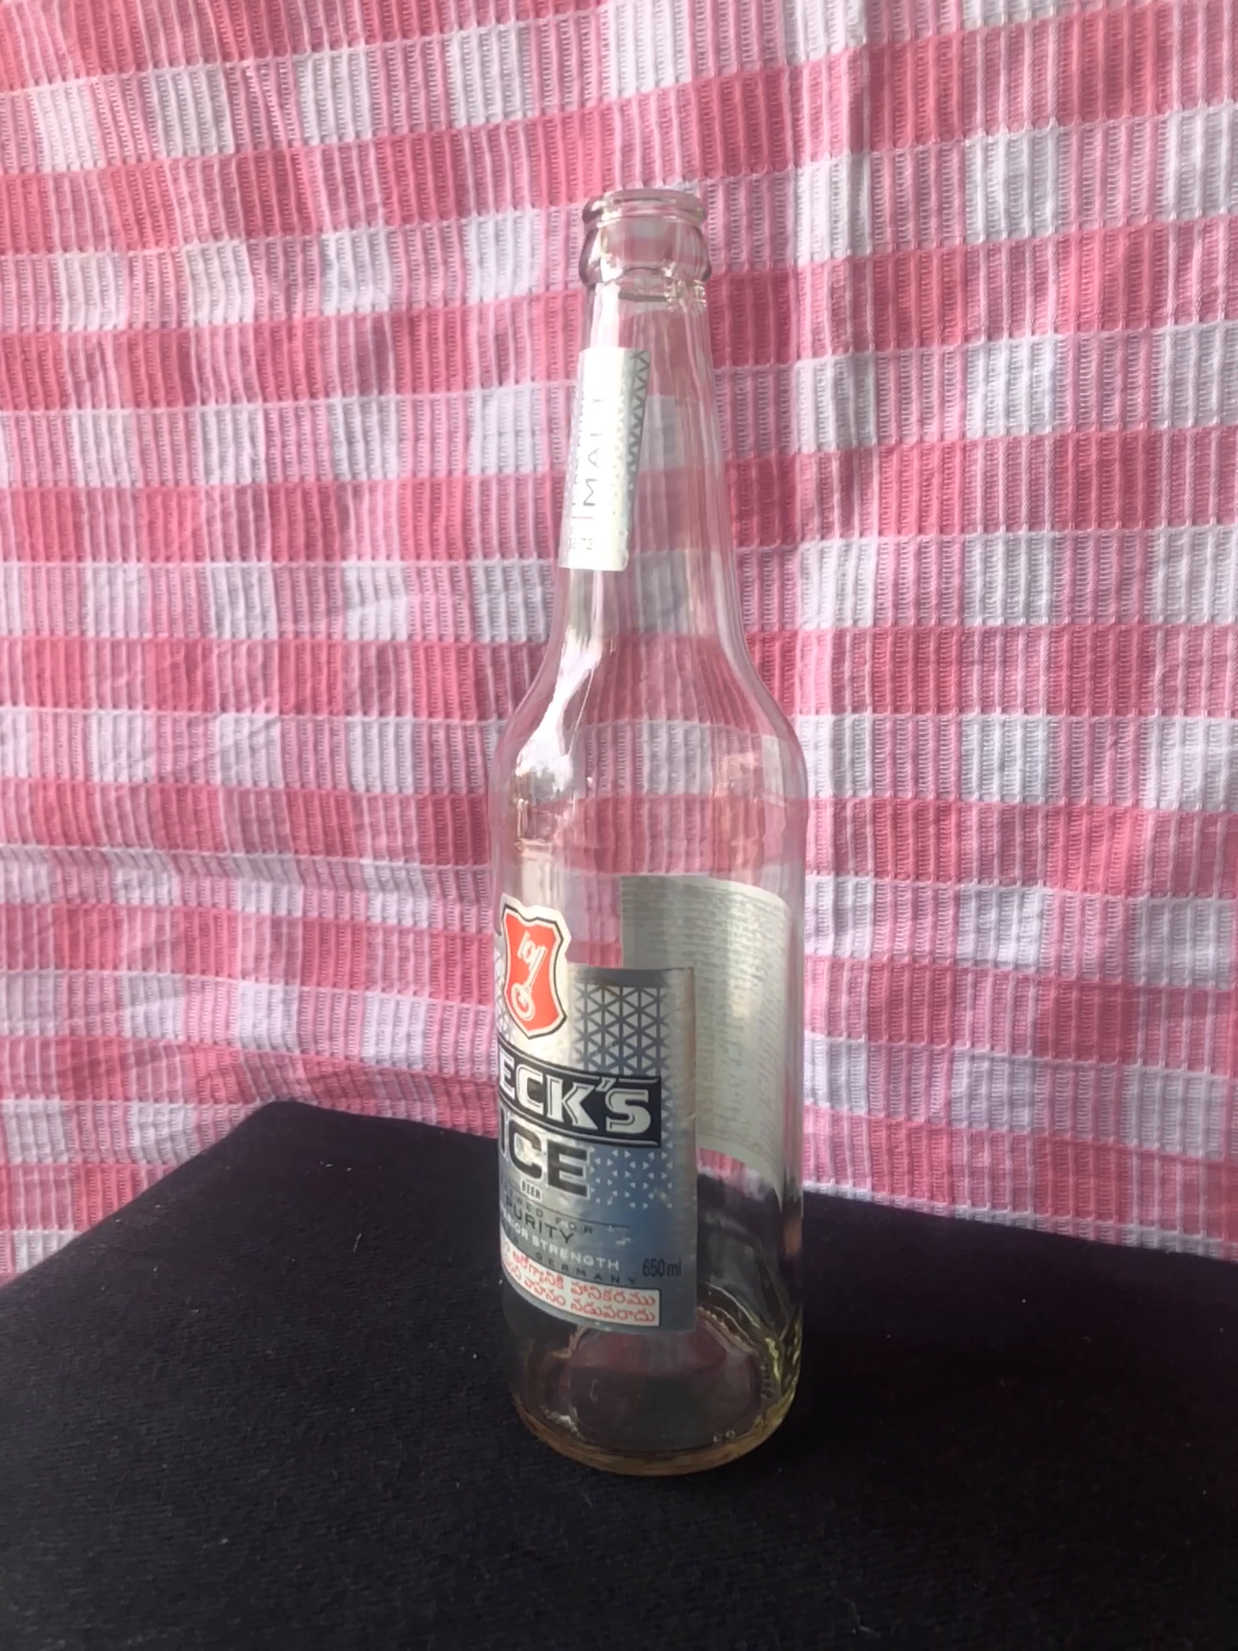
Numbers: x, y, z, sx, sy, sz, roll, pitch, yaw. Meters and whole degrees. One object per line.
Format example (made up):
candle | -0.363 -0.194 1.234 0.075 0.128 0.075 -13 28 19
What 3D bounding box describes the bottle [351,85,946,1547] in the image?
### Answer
bottle | 0.003 0.000 0.304 0.080 0.269 0.090 -10 17 -34
